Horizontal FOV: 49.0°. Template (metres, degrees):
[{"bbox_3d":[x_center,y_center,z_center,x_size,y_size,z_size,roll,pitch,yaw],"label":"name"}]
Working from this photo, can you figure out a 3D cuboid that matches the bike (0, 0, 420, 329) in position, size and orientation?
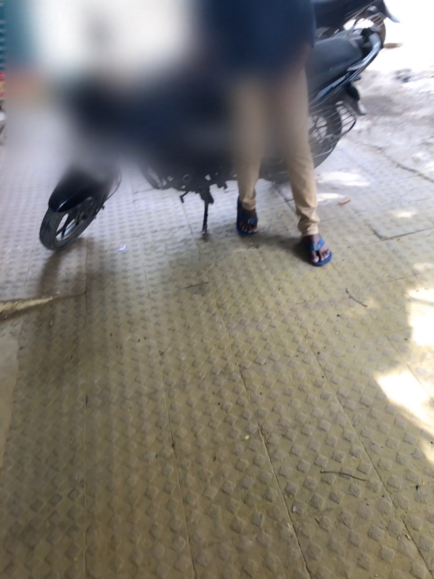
[{"bbox_3d":[-0.044,-0.806,2.324,1.746,1.175,0.786,-23,40,-15],"label":"bike"}]
